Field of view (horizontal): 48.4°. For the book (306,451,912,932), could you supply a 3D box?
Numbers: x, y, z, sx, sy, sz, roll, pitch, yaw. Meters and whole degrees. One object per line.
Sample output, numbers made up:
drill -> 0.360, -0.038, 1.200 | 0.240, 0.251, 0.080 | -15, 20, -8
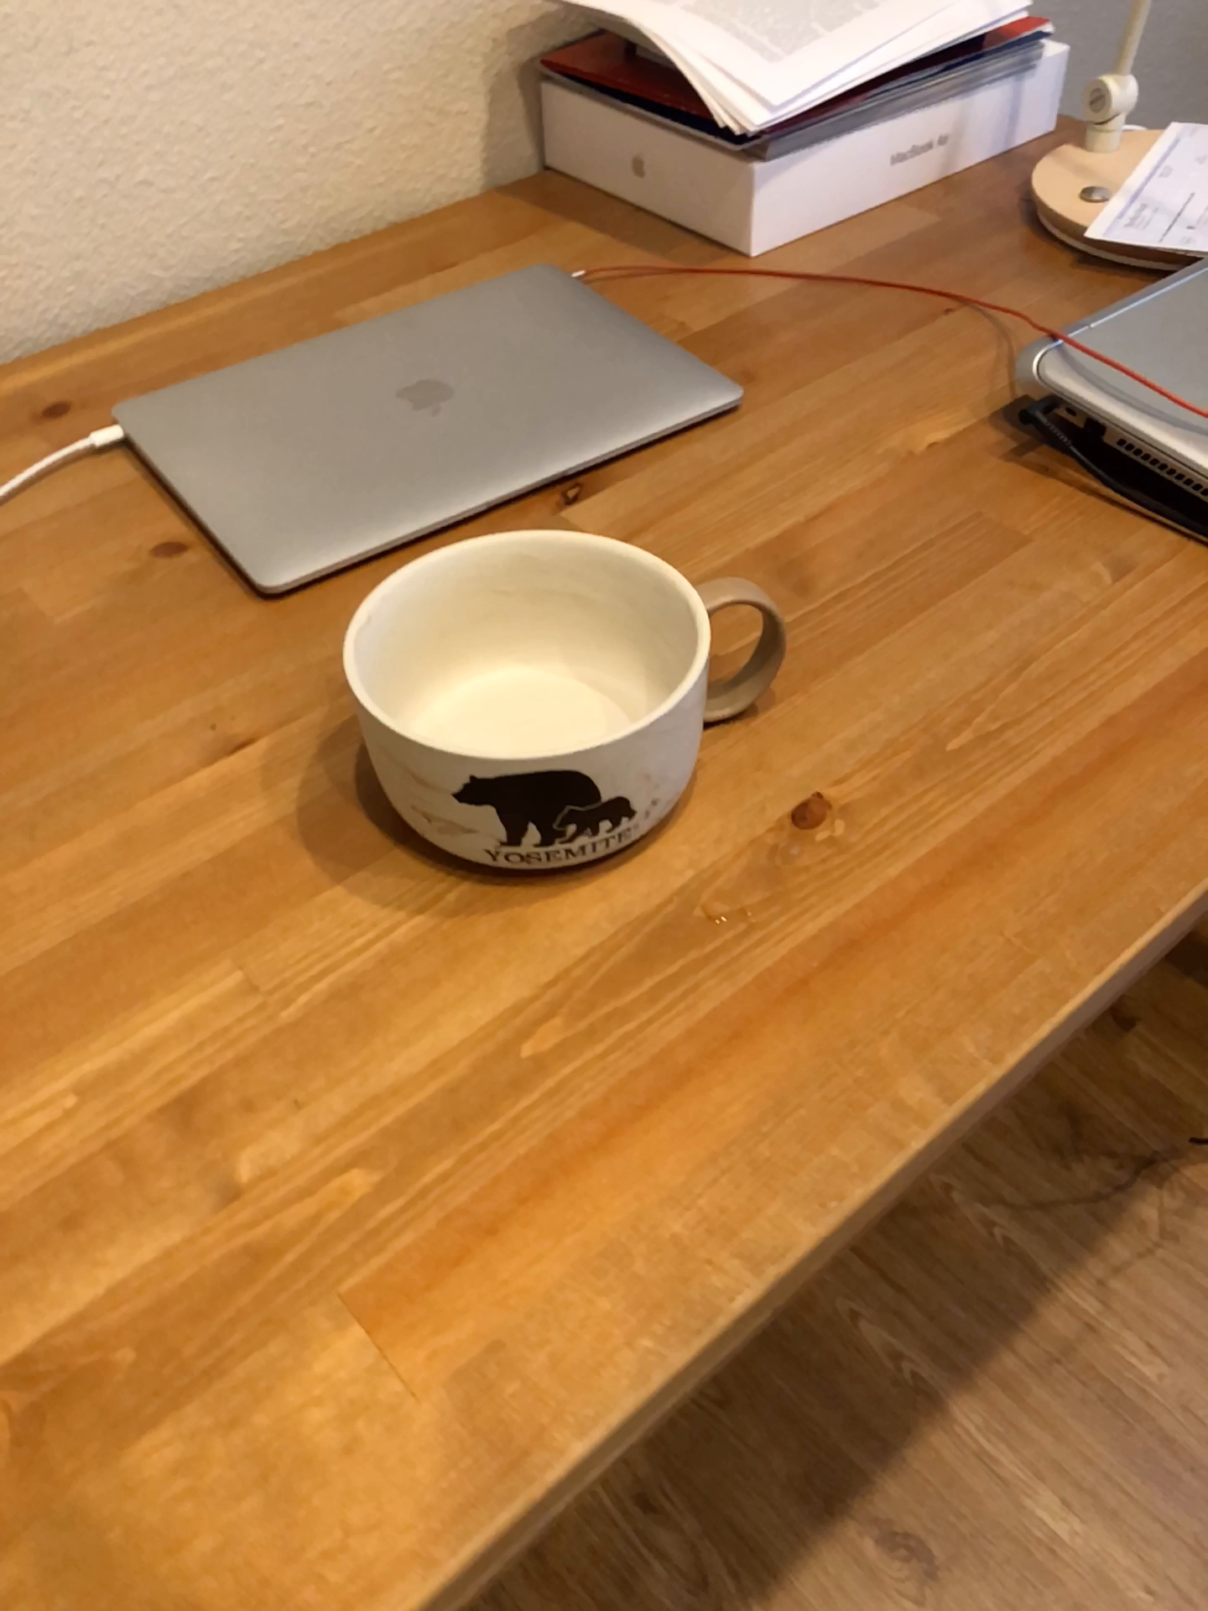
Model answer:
book -> -0.002, -0.050, 0.520 | 0.190, 0.080, 0.130 | -15, 47, -11
